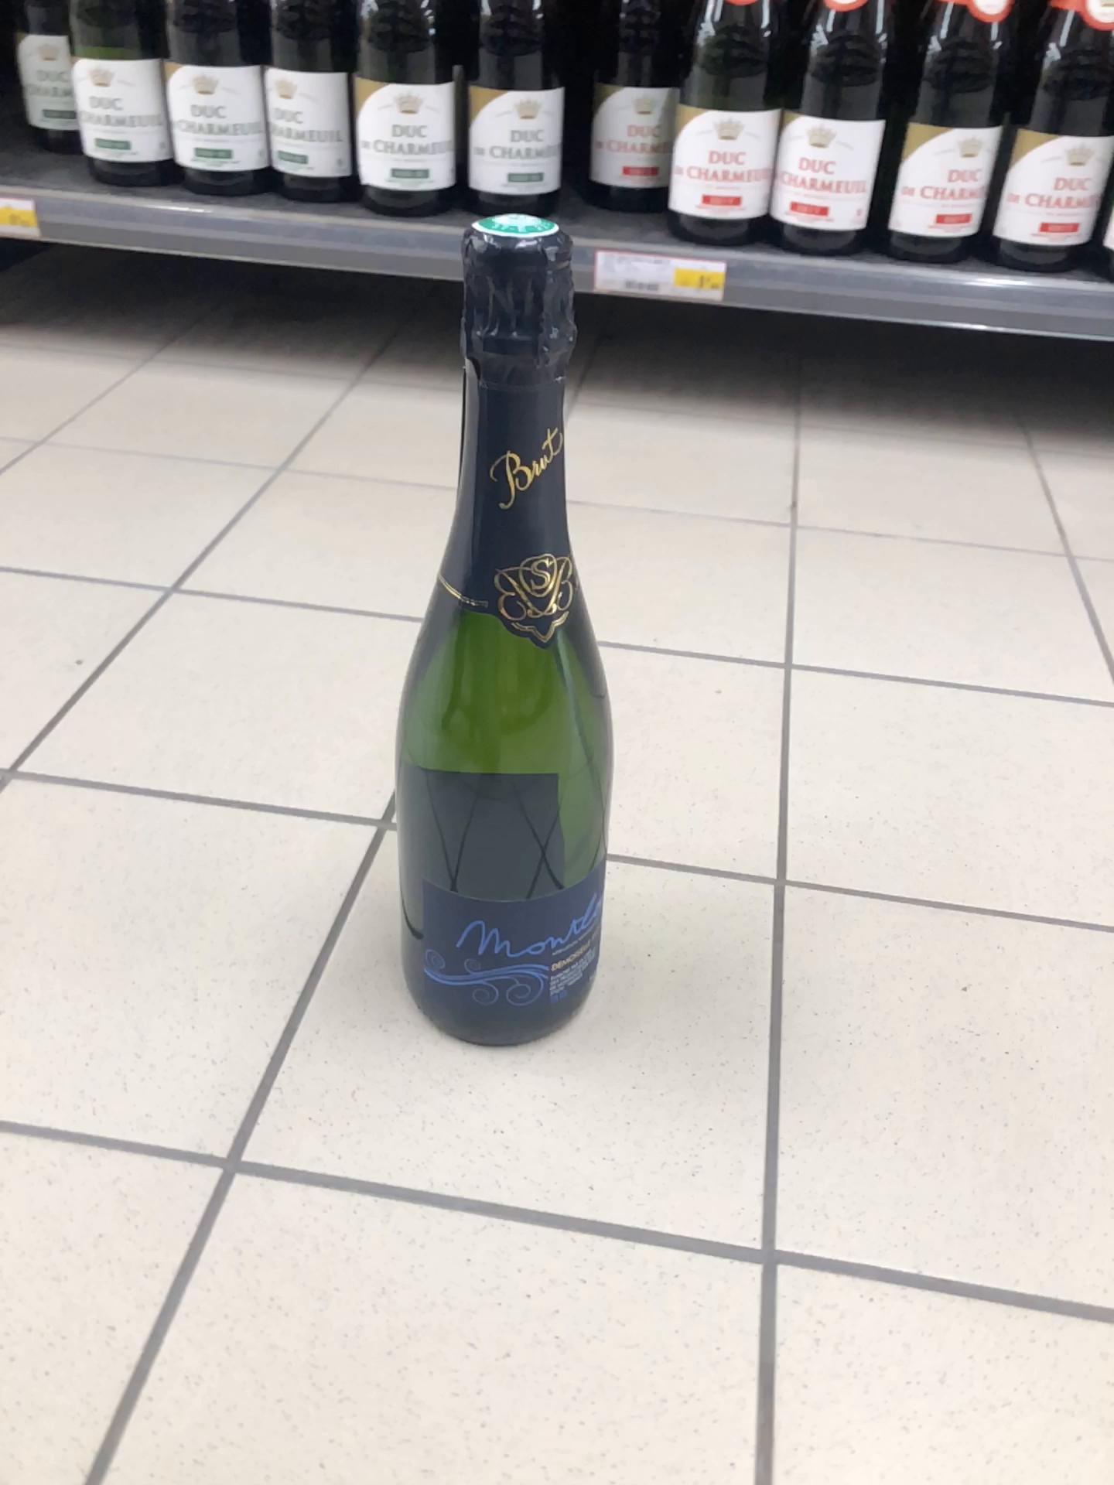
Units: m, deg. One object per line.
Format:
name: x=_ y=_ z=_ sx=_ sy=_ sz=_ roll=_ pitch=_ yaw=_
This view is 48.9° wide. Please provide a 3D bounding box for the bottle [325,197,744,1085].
bottle: x=-0.014 y=-0.025 z=0.458 sx=0.090 sy=0.308 sz=0.090 roll=2 pitch=35 yaw=-1
